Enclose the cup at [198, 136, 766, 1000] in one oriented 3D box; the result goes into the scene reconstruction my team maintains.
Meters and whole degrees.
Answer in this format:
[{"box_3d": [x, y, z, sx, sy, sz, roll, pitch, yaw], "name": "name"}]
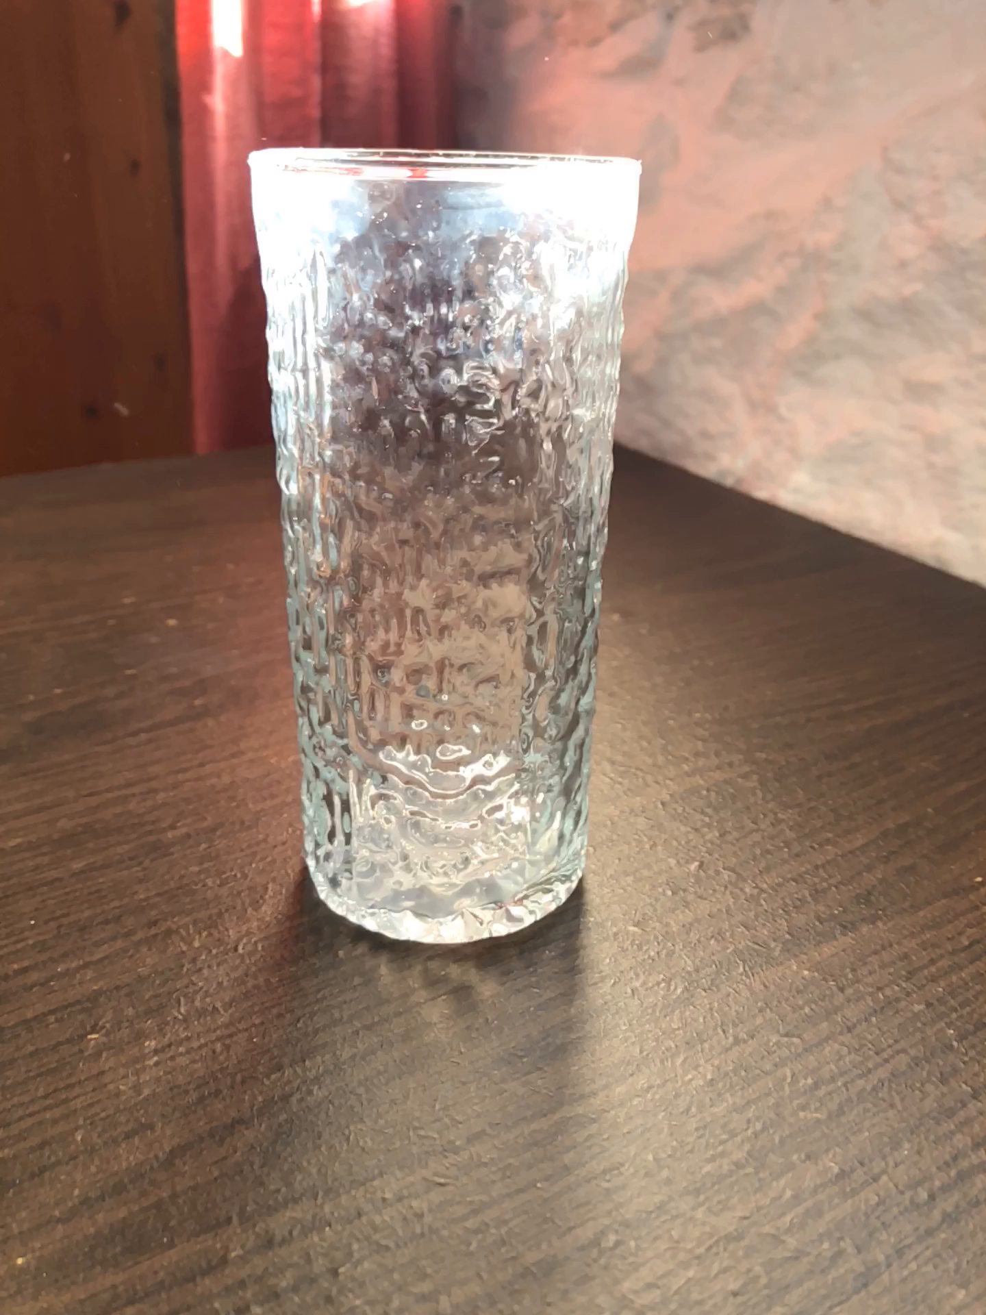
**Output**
[{"box_3d": [-0.009, -0.021, 0.200, 0.068, 0.130, 0.070, 2, 24, -1], "name": "cup"}]
